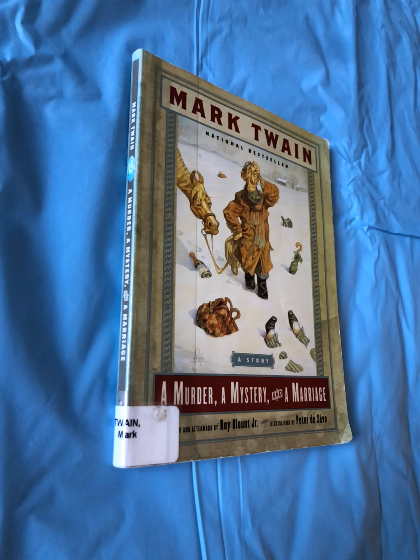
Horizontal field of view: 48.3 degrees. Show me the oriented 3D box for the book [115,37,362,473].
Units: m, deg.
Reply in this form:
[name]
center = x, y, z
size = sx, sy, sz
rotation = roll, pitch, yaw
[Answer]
[book]
center = 0.026, -0.010, 0.274
size = 0.161, 0.020, 0.210
rotation = 10, 74, -38
